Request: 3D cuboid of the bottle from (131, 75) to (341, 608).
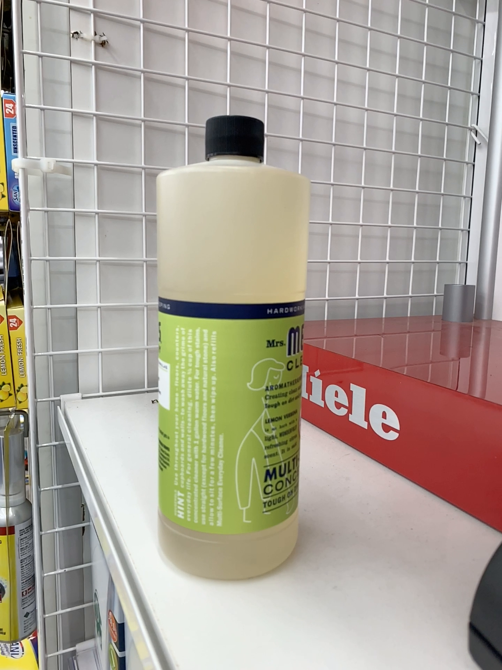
[{"bbox_3d":[-0.003,0.003,0.282,0.090,0.240,0.090,1,8,0],"label":"bottle"}]
